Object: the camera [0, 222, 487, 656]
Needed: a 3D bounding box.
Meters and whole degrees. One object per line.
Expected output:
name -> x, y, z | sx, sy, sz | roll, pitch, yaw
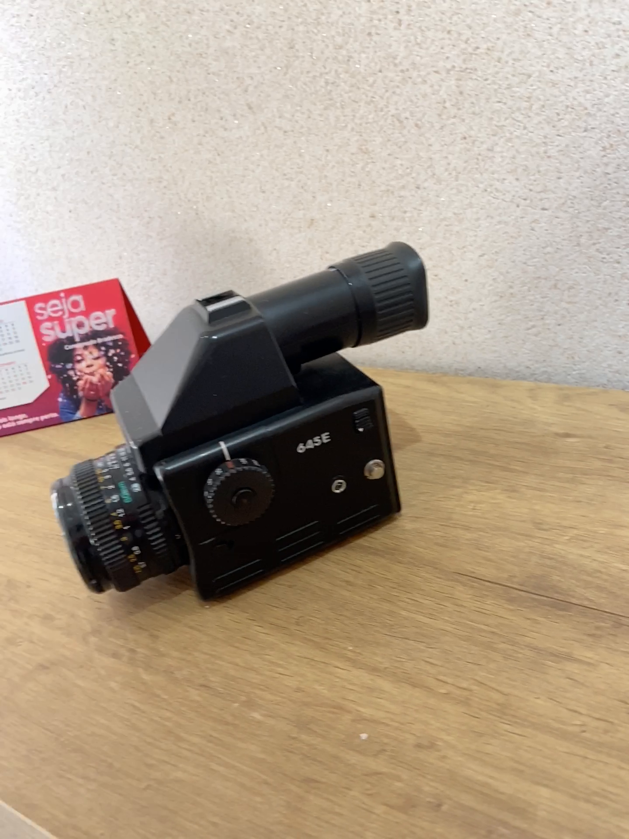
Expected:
camera -> -0.041, -0.008, 0.339 | 0.220, 0.109, 0.121 | -24, 31, -17
